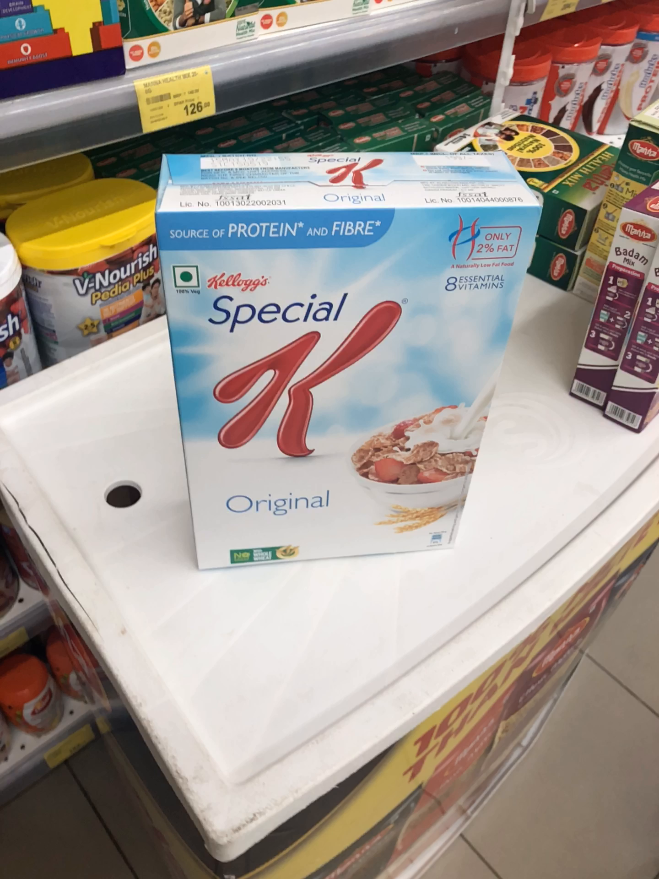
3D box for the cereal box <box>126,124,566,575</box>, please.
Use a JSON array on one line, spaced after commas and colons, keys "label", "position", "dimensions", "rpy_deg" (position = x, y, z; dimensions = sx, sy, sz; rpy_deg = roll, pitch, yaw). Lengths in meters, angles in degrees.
[{"label": "cereal box", "position": [0.000, -0.037, 0.425], "dimensions": [0.190, 0.259, 0.070], "rpy_deg": [-4, 44, -8]}]
